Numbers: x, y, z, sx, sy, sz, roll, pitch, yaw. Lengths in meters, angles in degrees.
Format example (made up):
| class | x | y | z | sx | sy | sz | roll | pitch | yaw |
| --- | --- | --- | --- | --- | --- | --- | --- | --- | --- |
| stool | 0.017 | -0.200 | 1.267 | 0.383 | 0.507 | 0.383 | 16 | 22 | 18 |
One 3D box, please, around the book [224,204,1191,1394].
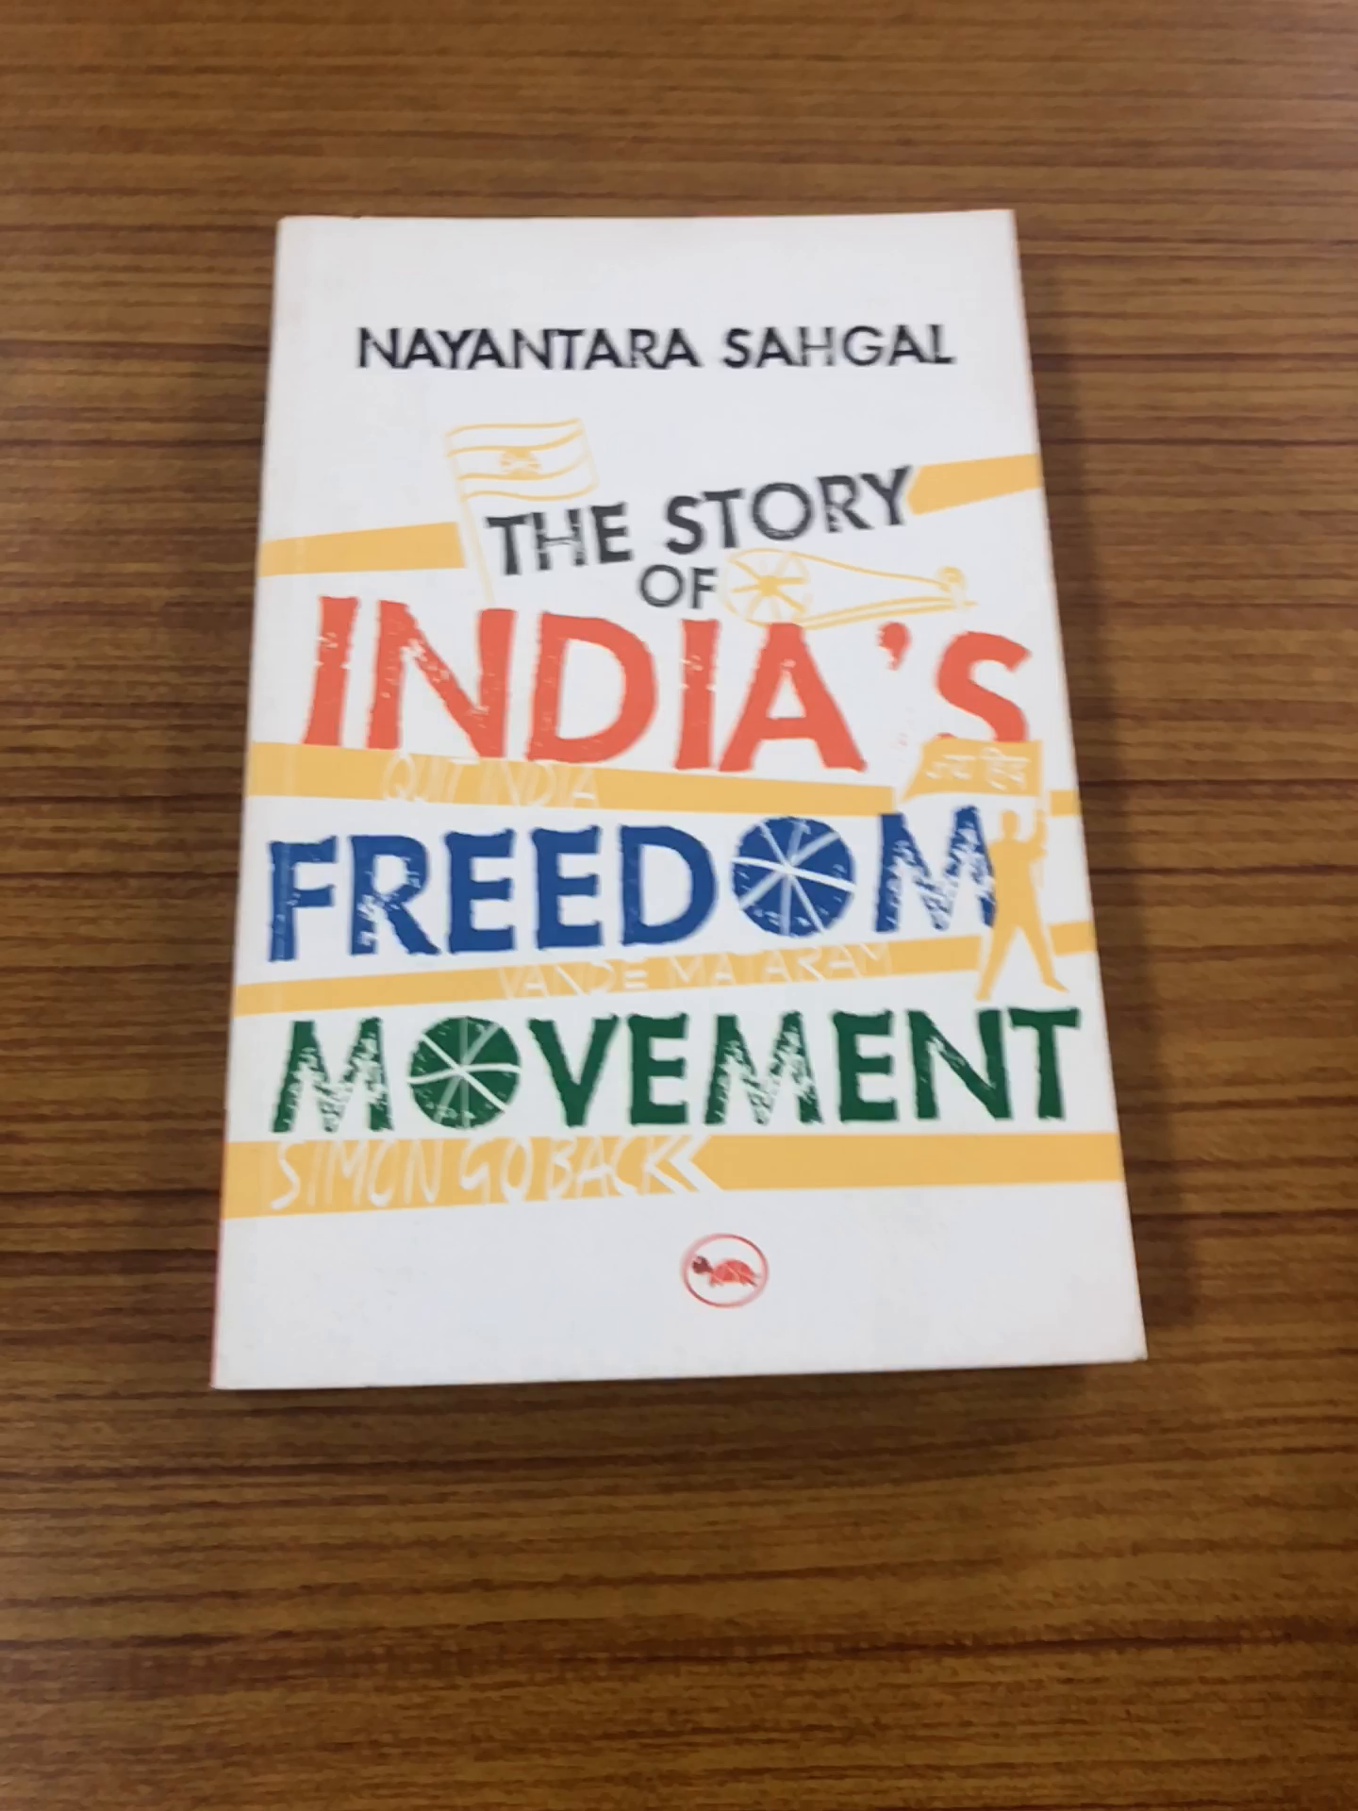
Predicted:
| class | x | y | z | sx | sy | sz | roll | pitch | yaw |
| --- | --- | --- | --- | --- | --- | --- | --- | --- | --- |
| book | 0.001 | -0.023 | 0.246 | 0.130 | 0.030 | 0.190 | -1 | 73 | -2 |
